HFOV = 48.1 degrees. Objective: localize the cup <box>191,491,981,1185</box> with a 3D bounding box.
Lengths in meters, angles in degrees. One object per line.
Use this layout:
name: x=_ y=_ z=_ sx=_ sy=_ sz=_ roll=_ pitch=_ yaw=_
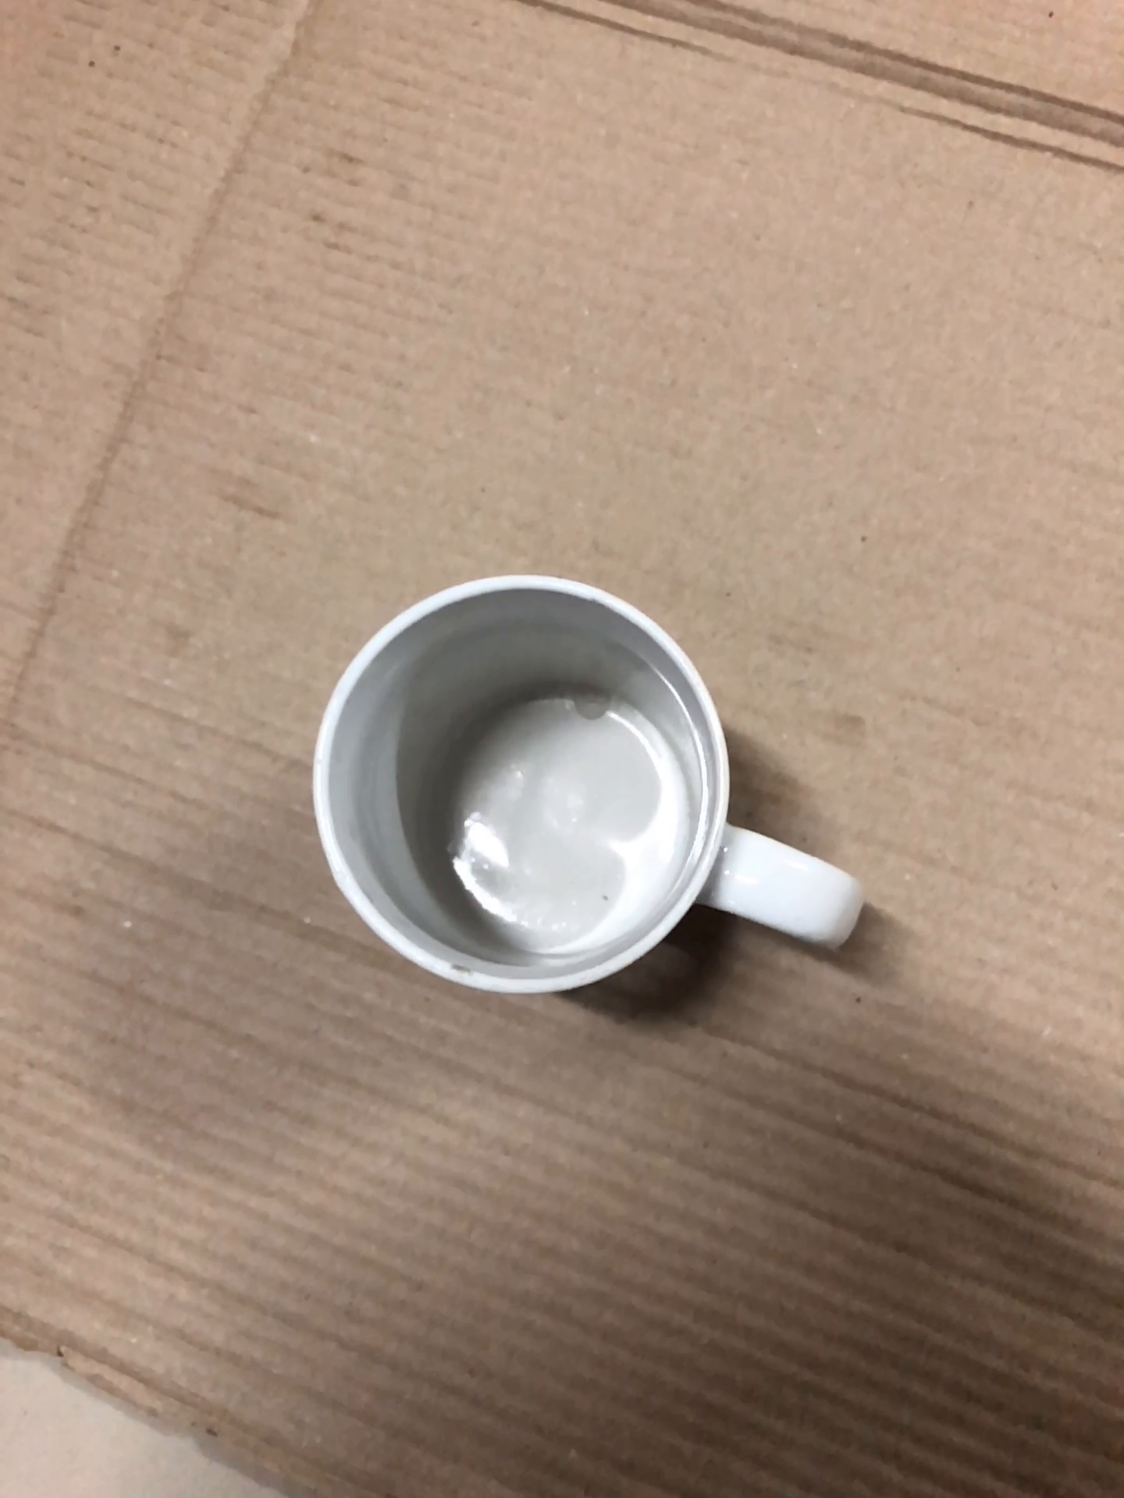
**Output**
cup: x=0.007 y=0.022 z=0.260 sx=0.110 sy=0.100 sz=0.080 roll=23 pitch=80 yaw=9
